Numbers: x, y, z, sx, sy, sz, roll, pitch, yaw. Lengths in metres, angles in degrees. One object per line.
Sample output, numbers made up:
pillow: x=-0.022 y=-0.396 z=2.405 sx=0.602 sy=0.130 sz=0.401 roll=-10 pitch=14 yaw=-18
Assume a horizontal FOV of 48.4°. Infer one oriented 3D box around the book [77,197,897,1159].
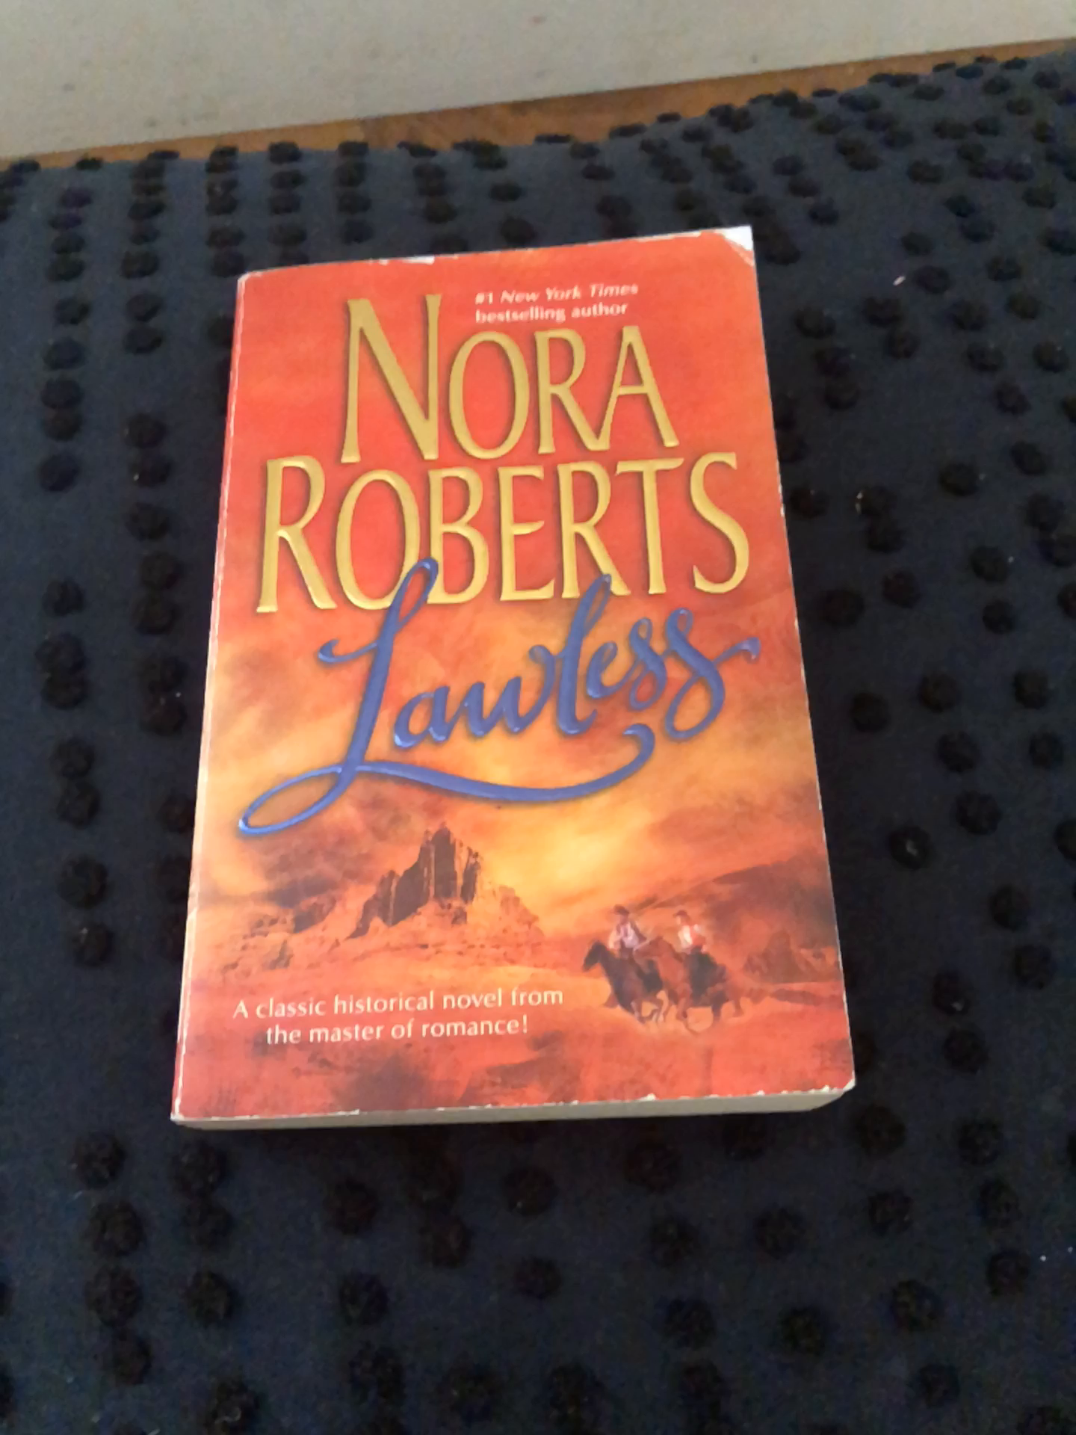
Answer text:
book: x=-0.011 y=-0.015 z=0.229 sx=0.120 sy=0.040 sz=0.180 roll=-1 pitch=67 yaw=-5
